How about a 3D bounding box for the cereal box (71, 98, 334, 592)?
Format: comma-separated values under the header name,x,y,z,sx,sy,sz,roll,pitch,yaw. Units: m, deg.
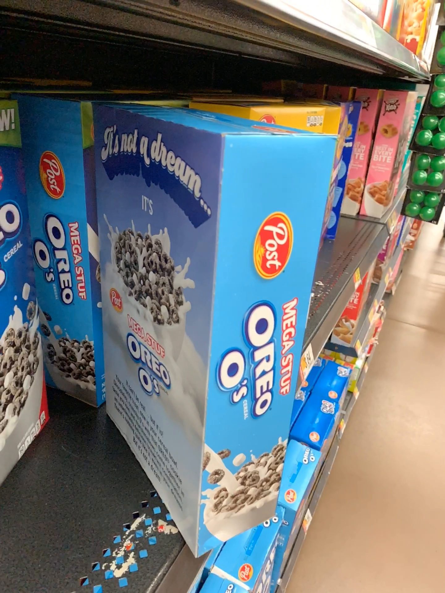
name,x,y,z,sx,sy,sz,roll,pitch,yaw
cereal box,-0.043,0.026,0.375,0.080,0.328,0.211,-11,30,-32
